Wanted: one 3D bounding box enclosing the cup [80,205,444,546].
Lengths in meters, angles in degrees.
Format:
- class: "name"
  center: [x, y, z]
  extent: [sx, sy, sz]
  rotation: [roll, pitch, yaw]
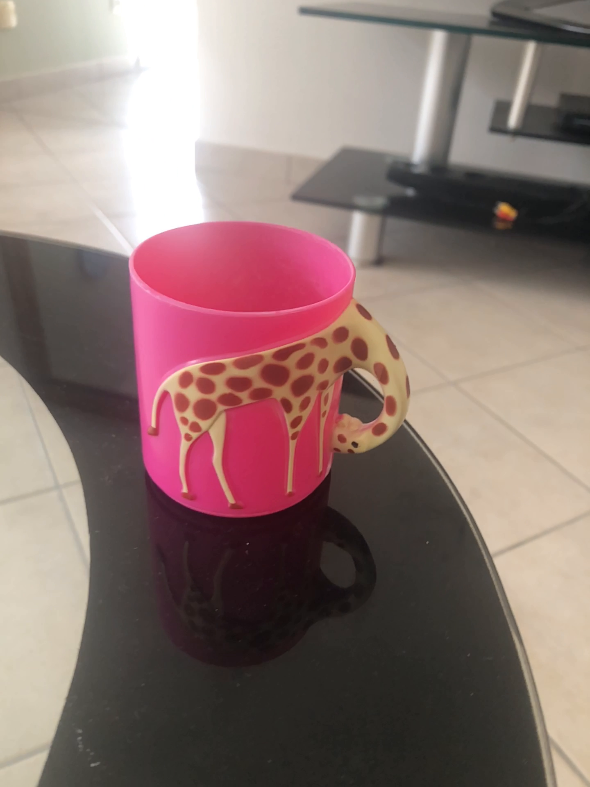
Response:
- class: "cup"
  center: [-0.006, -0.009, 0.208]
  extent: [0.090, 0.070, 0.070]
  rotation: [8, 33, 5]
